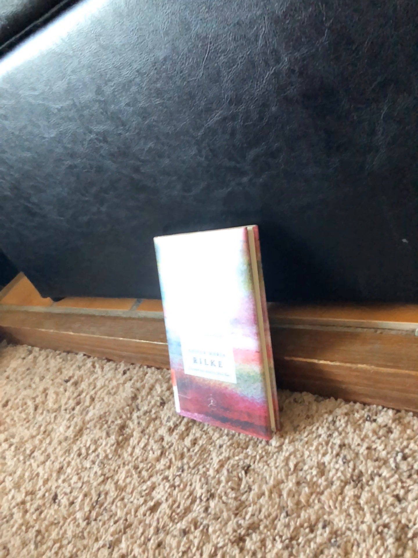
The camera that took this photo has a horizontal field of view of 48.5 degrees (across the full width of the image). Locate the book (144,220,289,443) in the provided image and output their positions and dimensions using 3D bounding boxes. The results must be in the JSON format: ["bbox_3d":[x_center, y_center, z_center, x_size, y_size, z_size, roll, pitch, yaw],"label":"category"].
[{"bbox_3d":[0.003,0.045,0.446,0.136,0.190,0.030,0,9,43],"label":"book"}]
